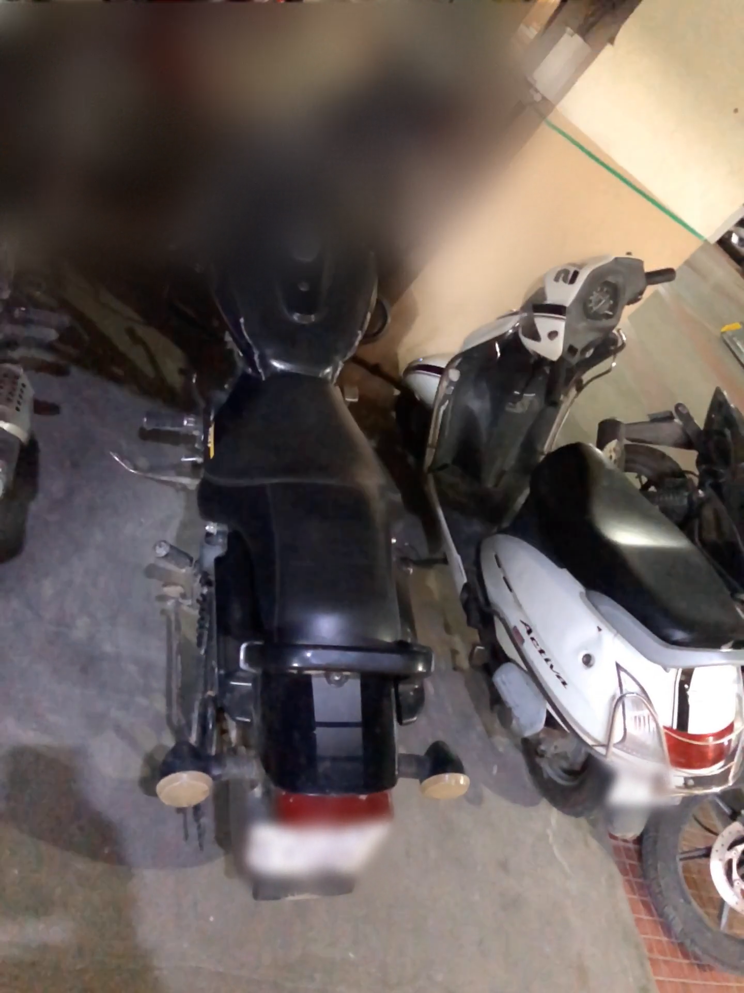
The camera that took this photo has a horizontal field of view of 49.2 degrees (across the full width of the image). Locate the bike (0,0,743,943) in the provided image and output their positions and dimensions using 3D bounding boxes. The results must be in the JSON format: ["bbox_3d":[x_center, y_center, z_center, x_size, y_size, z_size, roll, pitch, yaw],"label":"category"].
[{"bbox_3d":[-0.274,-0.284,1.581,0.864,1.252,1.674,19,40,-35],"label":"bike"}]
